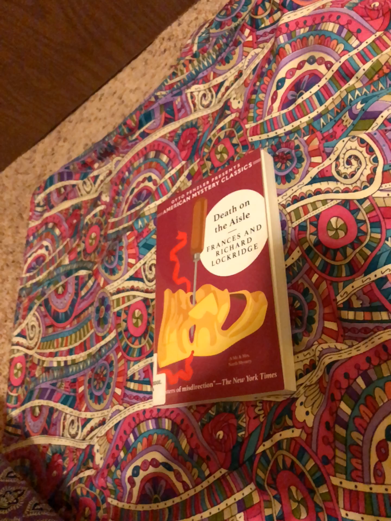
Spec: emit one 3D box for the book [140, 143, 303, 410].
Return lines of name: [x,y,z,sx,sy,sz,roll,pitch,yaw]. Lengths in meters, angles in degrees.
book: [0.011,0.017,0.365,0.138,0.024,0.196,-21,59,38]
